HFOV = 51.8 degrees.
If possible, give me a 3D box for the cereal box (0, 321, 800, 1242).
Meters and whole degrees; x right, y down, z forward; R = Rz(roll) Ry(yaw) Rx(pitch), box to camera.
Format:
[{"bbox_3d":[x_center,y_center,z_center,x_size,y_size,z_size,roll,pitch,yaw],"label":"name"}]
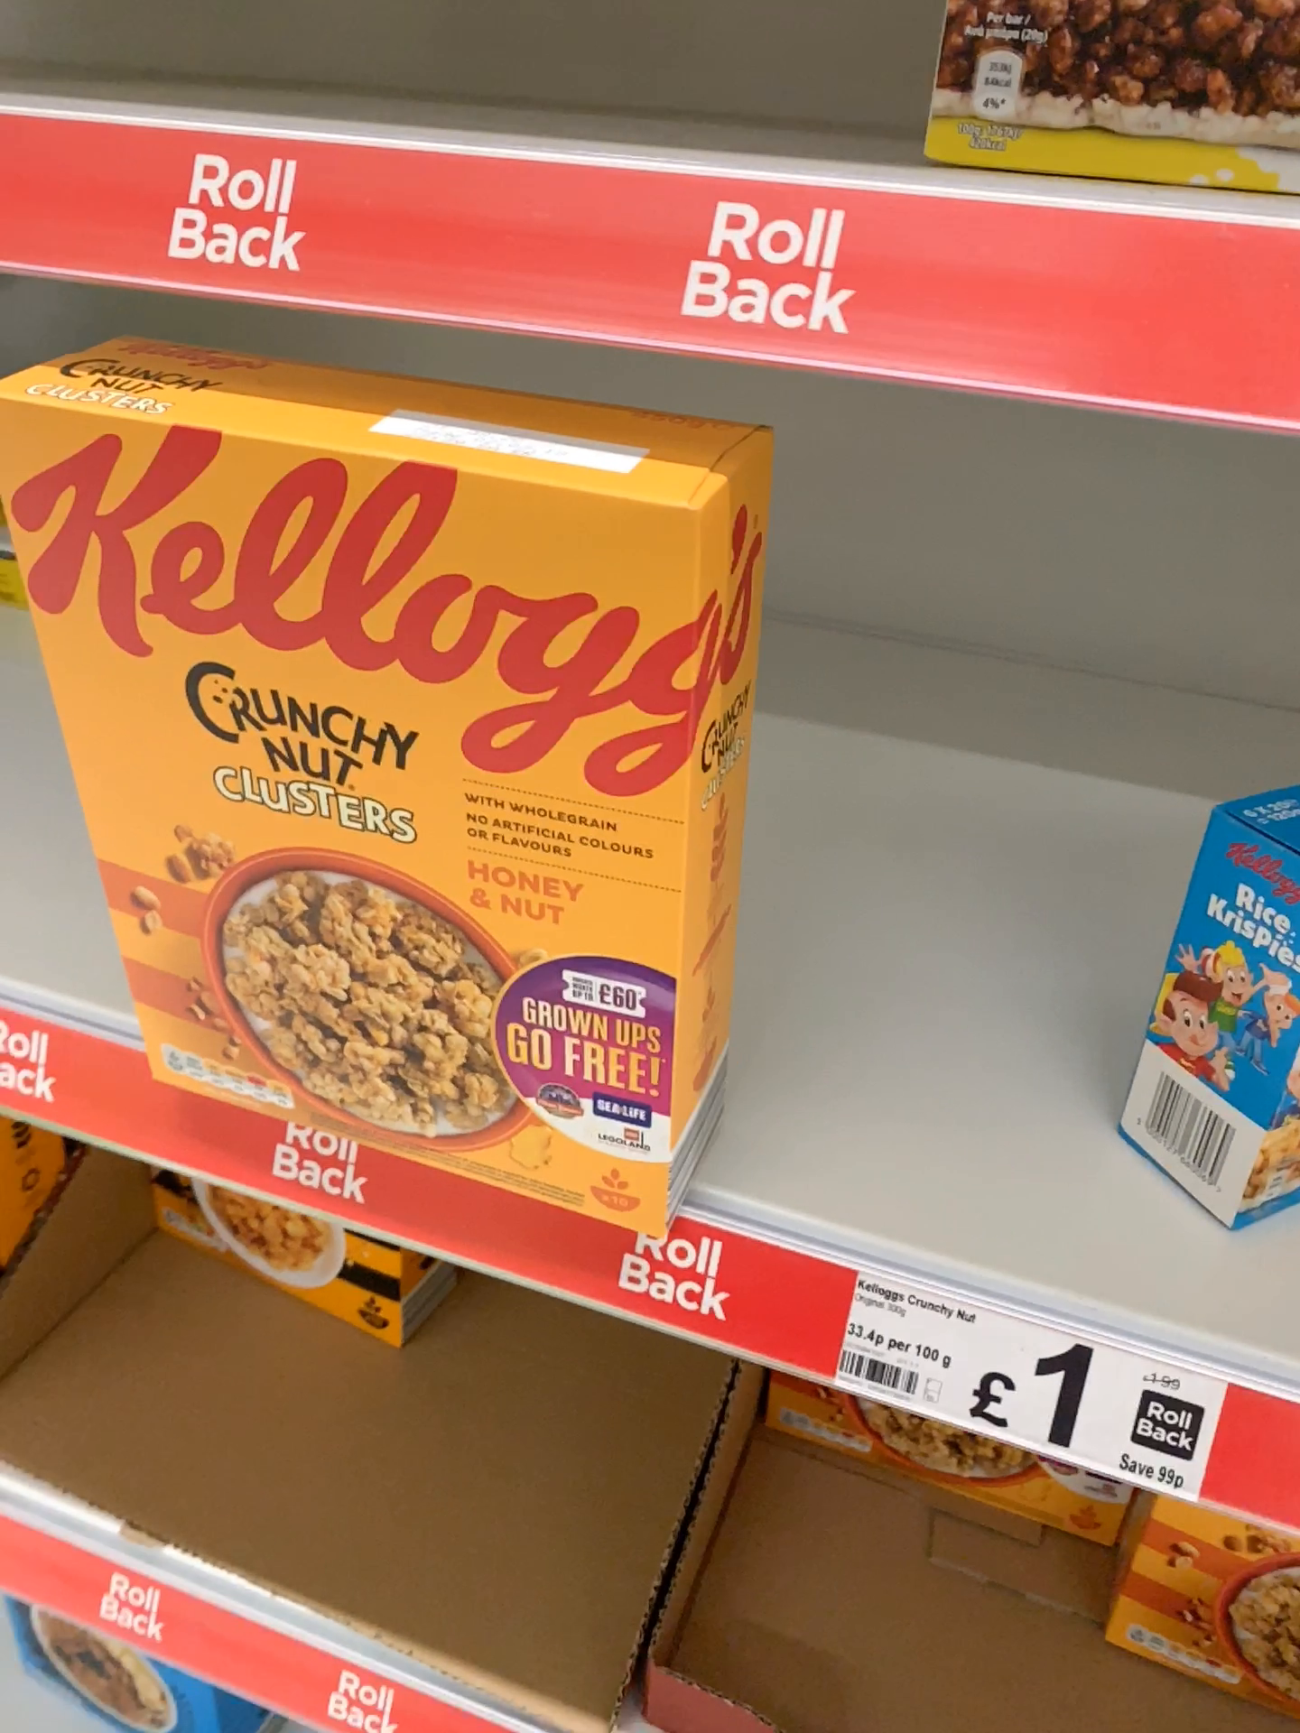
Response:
[{"bbox_3d":[-0.072,-0.019,0.386,0.200,0.228,0.061,13,36,15],"label":"cereal box"}]
